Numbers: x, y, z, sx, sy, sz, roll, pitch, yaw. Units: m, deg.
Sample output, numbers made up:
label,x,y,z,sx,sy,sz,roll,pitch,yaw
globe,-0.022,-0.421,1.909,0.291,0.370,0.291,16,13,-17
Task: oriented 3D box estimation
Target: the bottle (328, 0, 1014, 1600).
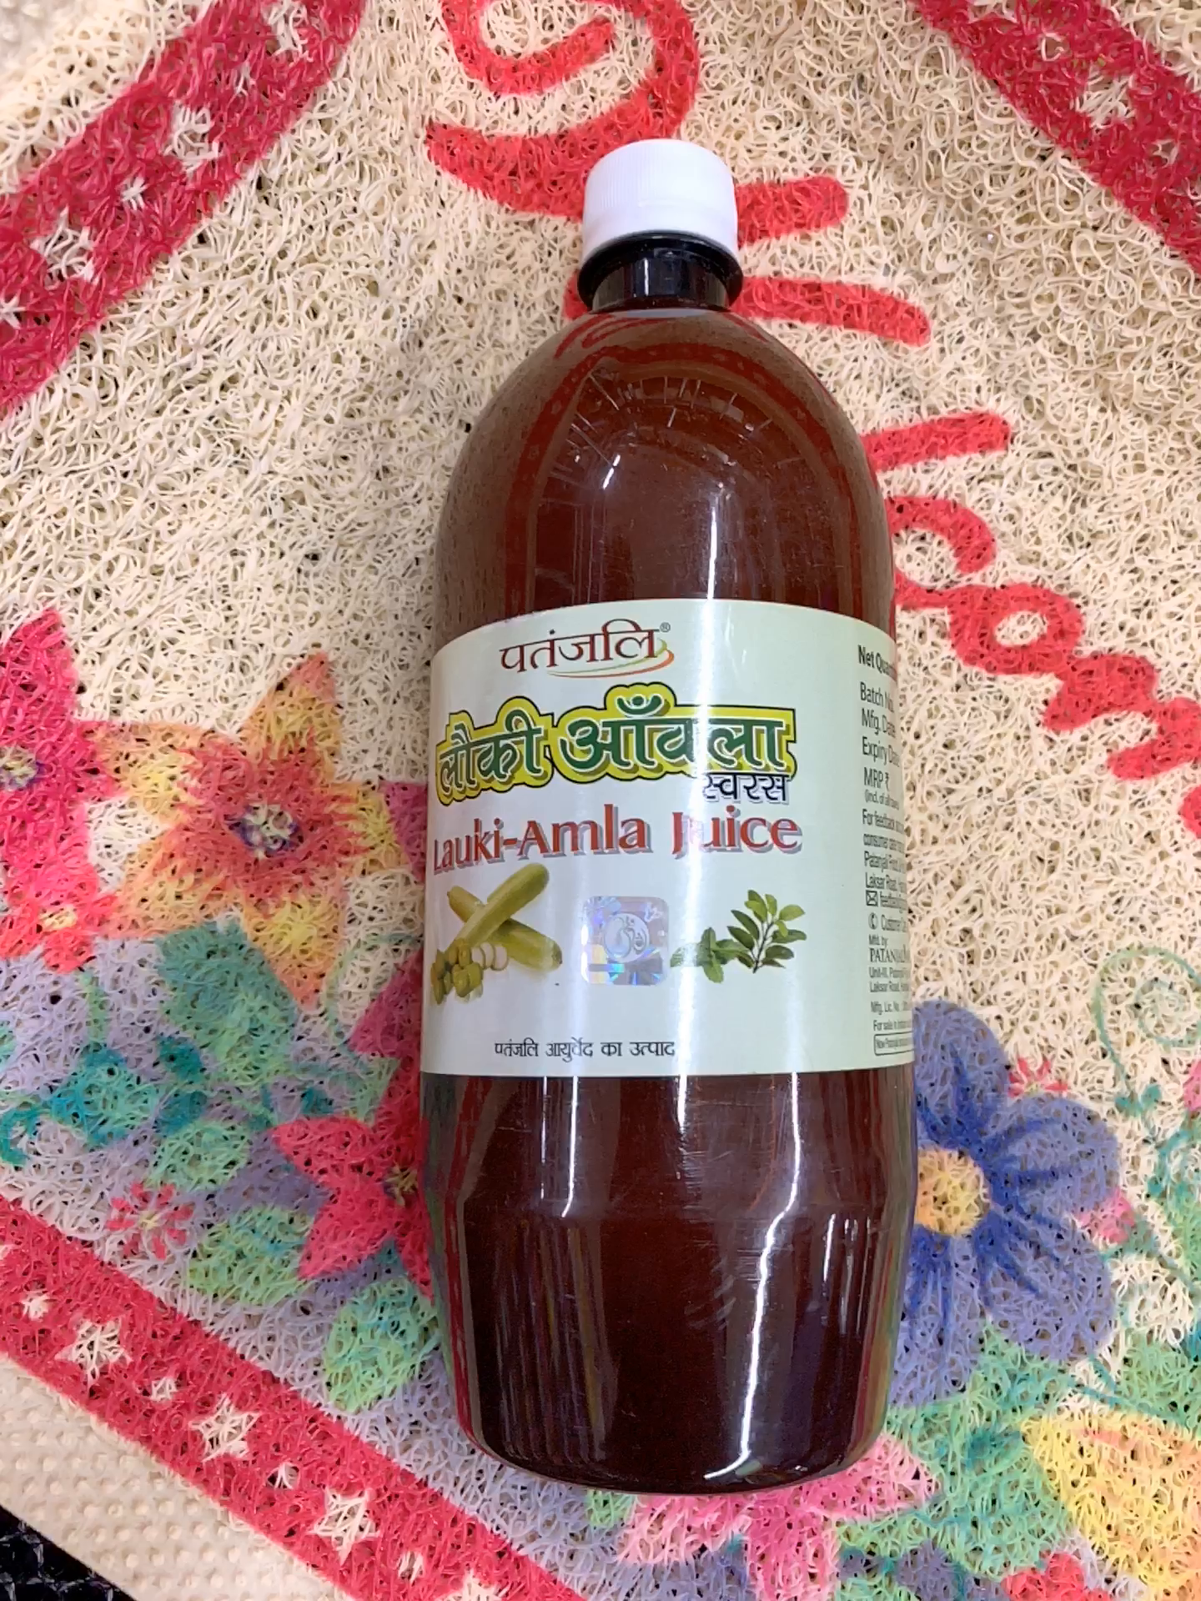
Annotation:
label,x,y,z,sx,sy,sz,roll,pitch,yaw
bottle,0.013,-0.020,0.222,0.080,0.080,0.250,12,75,-53
